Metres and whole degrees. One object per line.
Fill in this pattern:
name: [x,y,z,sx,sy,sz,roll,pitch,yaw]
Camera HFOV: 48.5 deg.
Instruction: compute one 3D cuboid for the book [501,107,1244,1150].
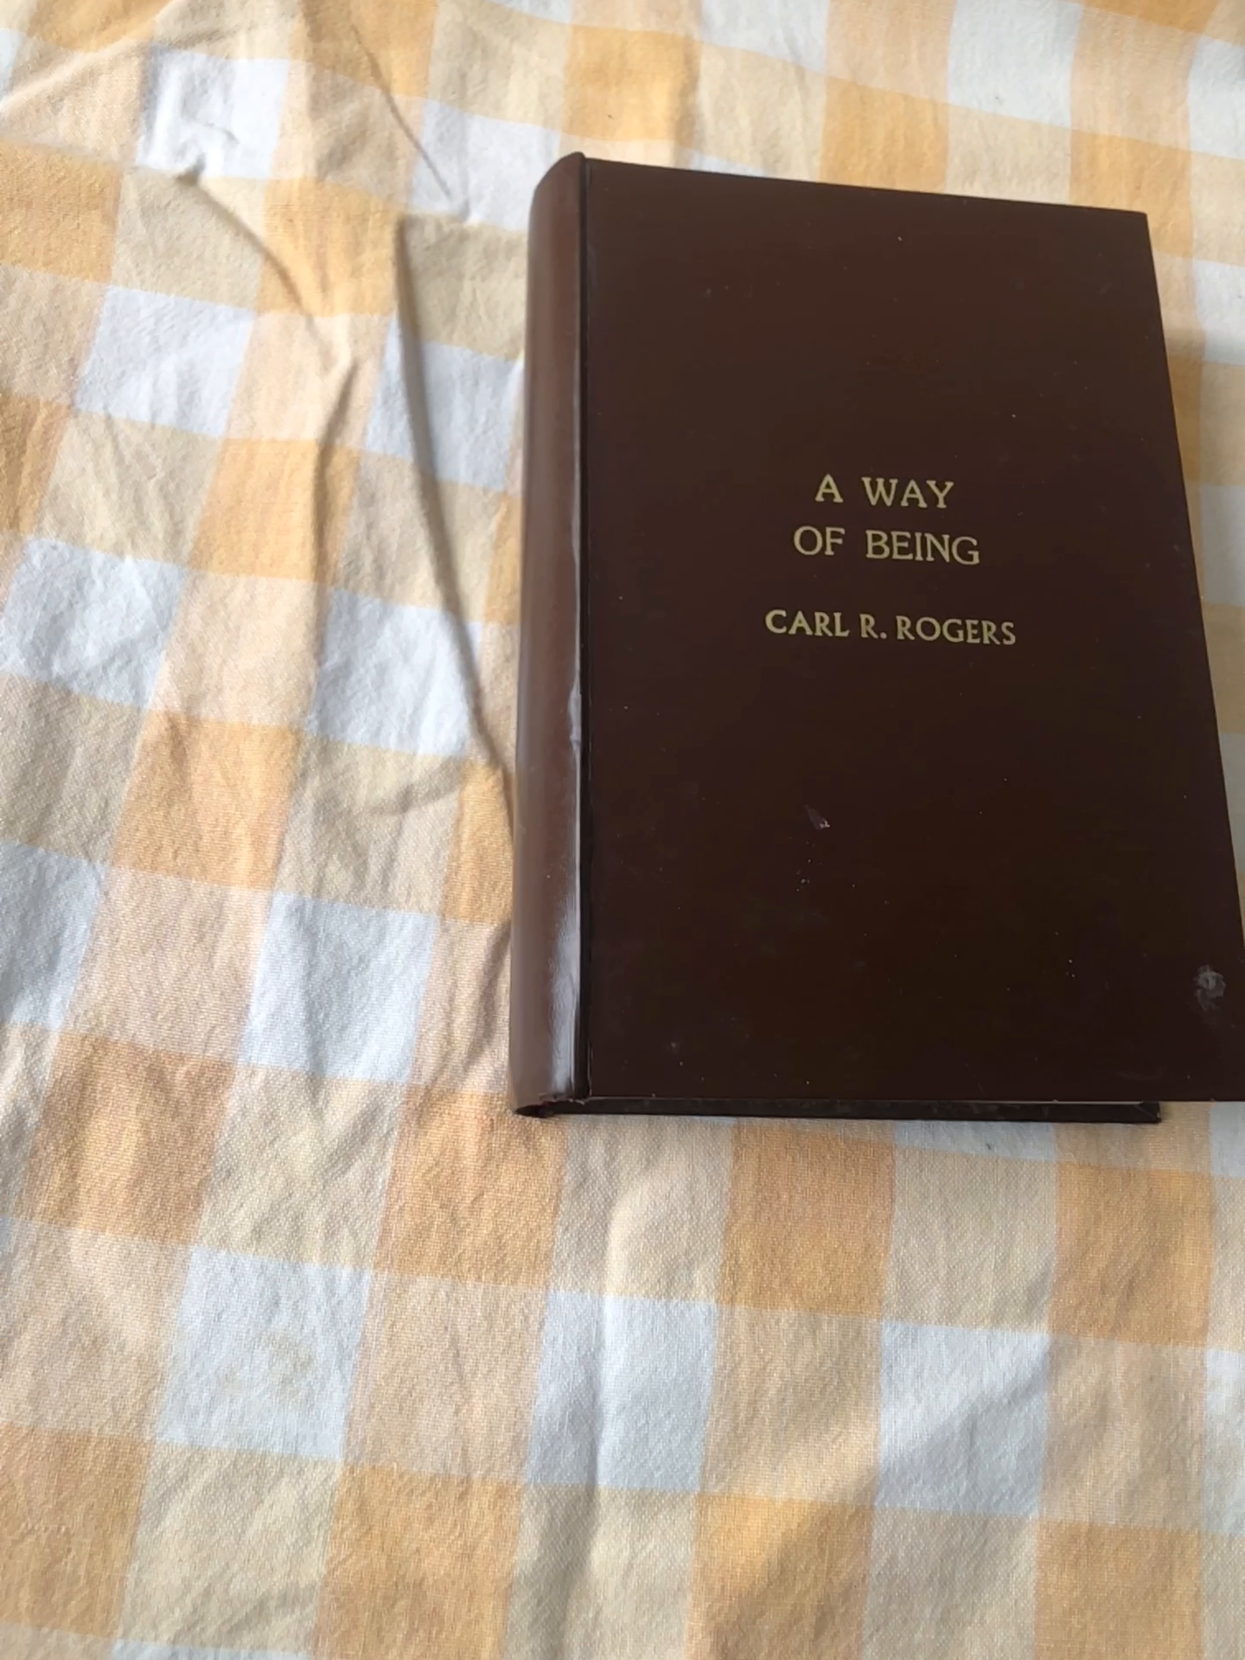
book: [0.047,-0.041,0.298,0.140,0.060,0.210,2,73,-8]
